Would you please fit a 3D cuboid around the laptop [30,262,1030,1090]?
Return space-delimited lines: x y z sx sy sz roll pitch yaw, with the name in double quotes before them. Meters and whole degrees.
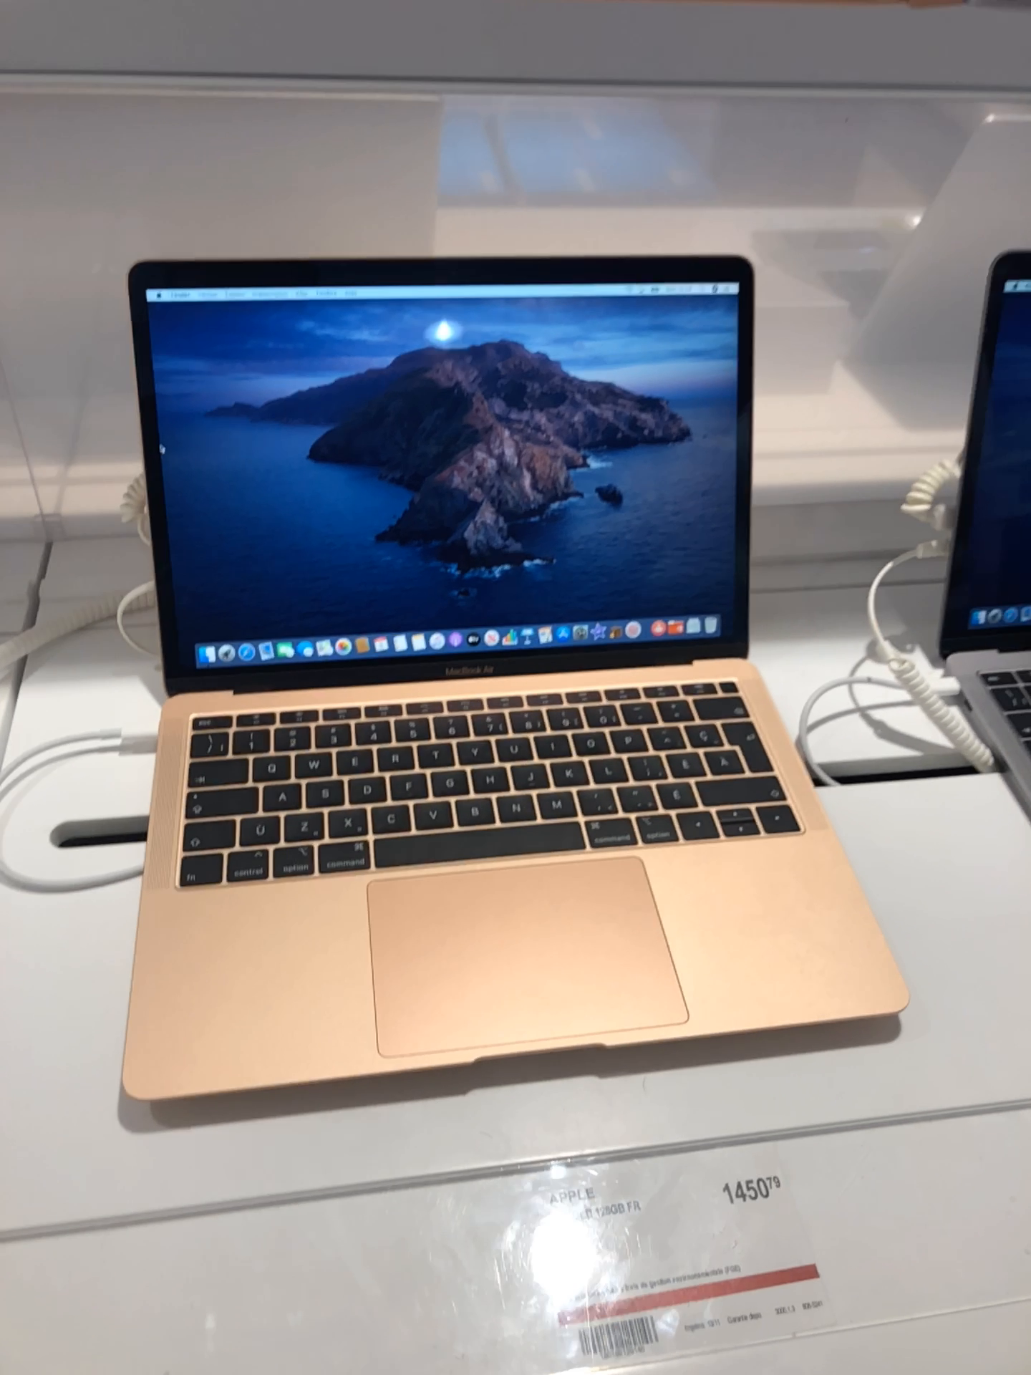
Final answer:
"laptop" -0.010 -0.031 0.481 0.291 0.170 0.304 -4 44 -9
